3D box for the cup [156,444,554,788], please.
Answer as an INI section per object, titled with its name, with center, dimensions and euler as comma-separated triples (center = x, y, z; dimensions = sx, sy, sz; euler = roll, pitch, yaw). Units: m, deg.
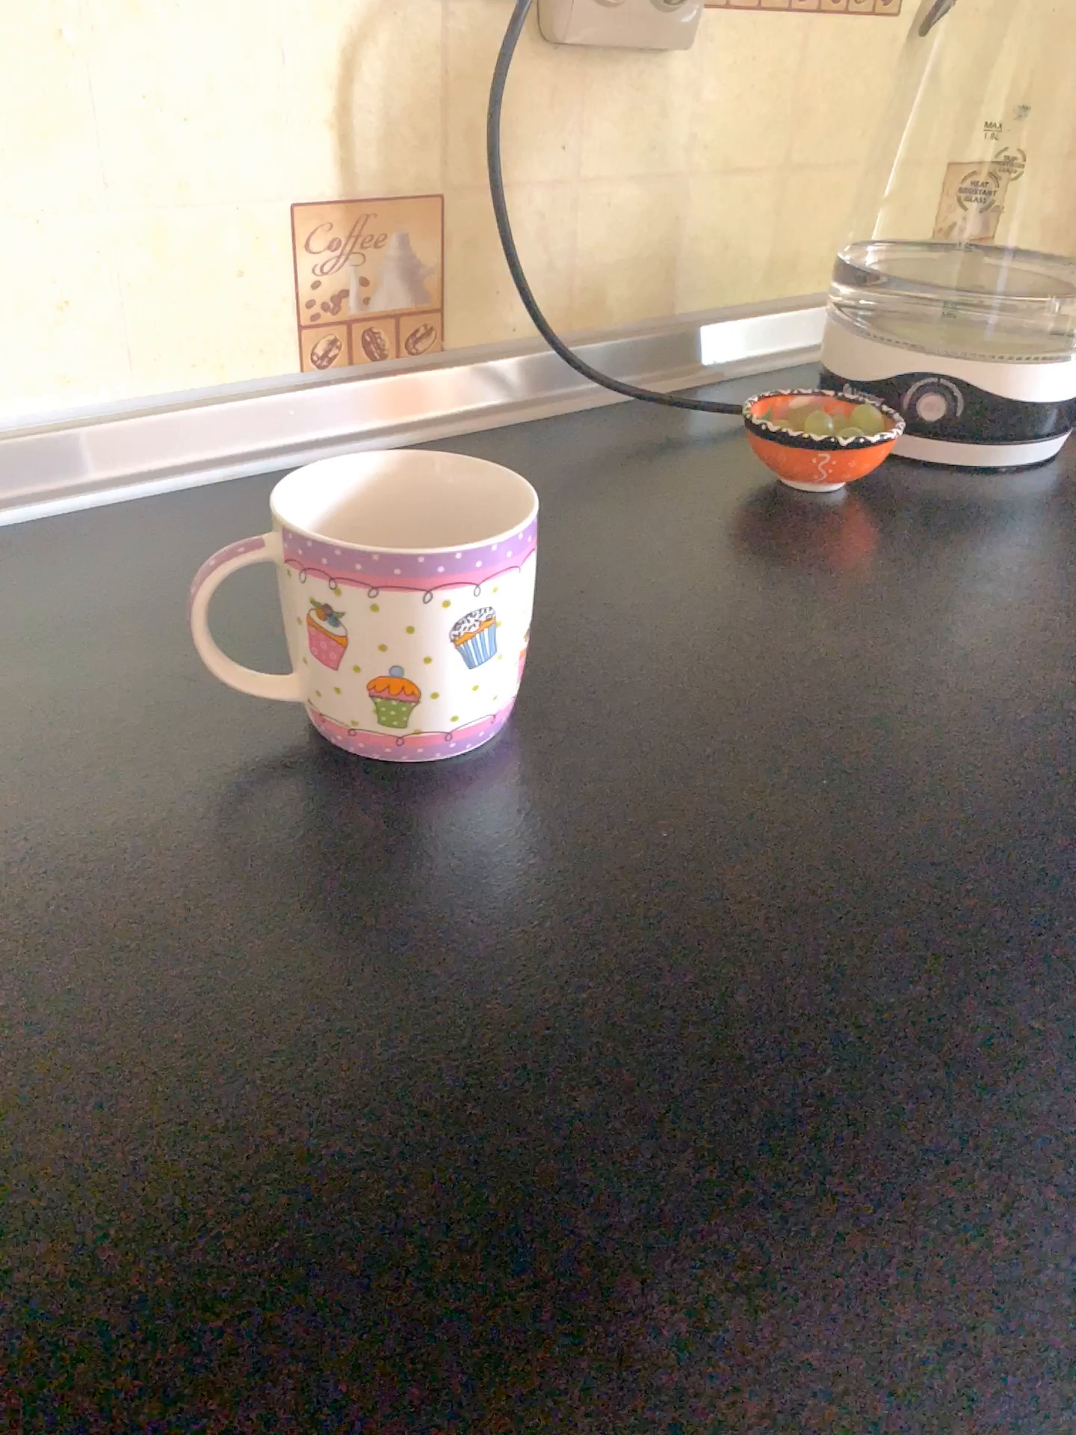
[cup]
center = -0.059, -0.037, 0.363
dimensions = 0.110, 0.080, 0.080
euler = -4, 33, -11
